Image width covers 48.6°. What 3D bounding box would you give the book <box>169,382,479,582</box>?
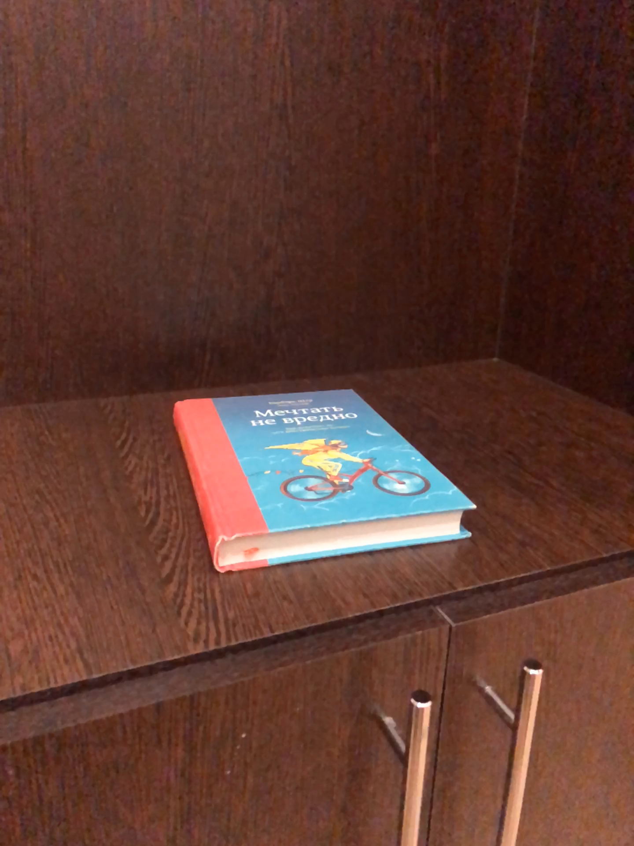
[{"bbox_3d":[-0.012,0.023,0.459,0.145,0.025,0.211,-5,23,-16],"label":"book"}]
